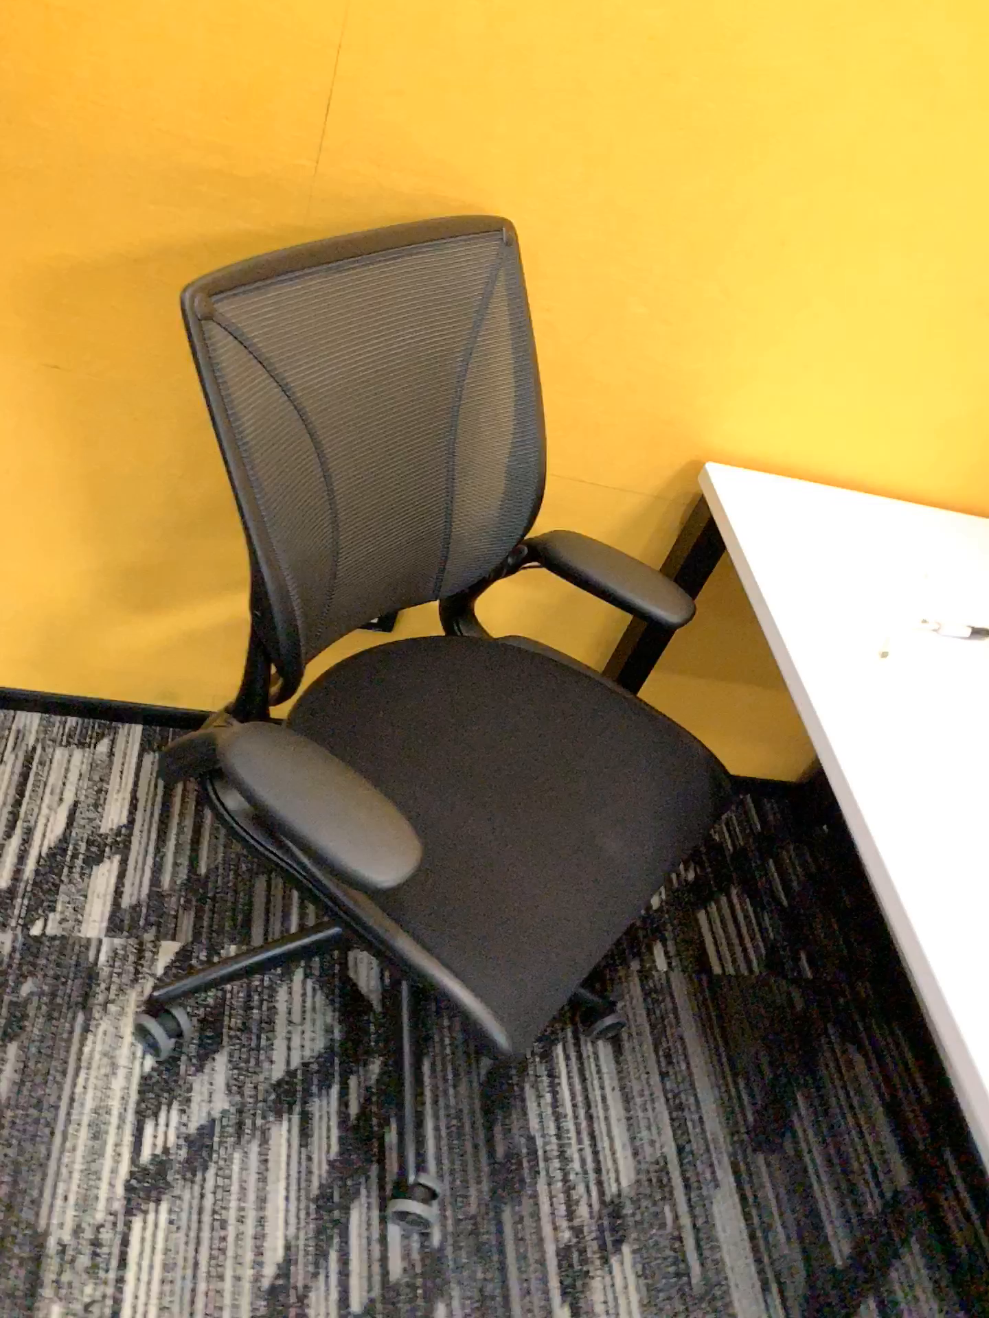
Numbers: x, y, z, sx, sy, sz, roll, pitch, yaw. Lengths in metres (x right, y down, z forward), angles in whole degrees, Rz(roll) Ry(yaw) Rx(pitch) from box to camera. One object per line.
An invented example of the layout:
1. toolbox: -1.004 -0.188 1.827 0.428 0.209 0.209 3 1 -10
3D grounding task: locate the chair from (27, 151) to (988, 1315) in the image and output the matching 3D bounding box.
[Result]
1. chair: -0.024 0.076 0.978 0.571 0.813 0.544 36 42 13
